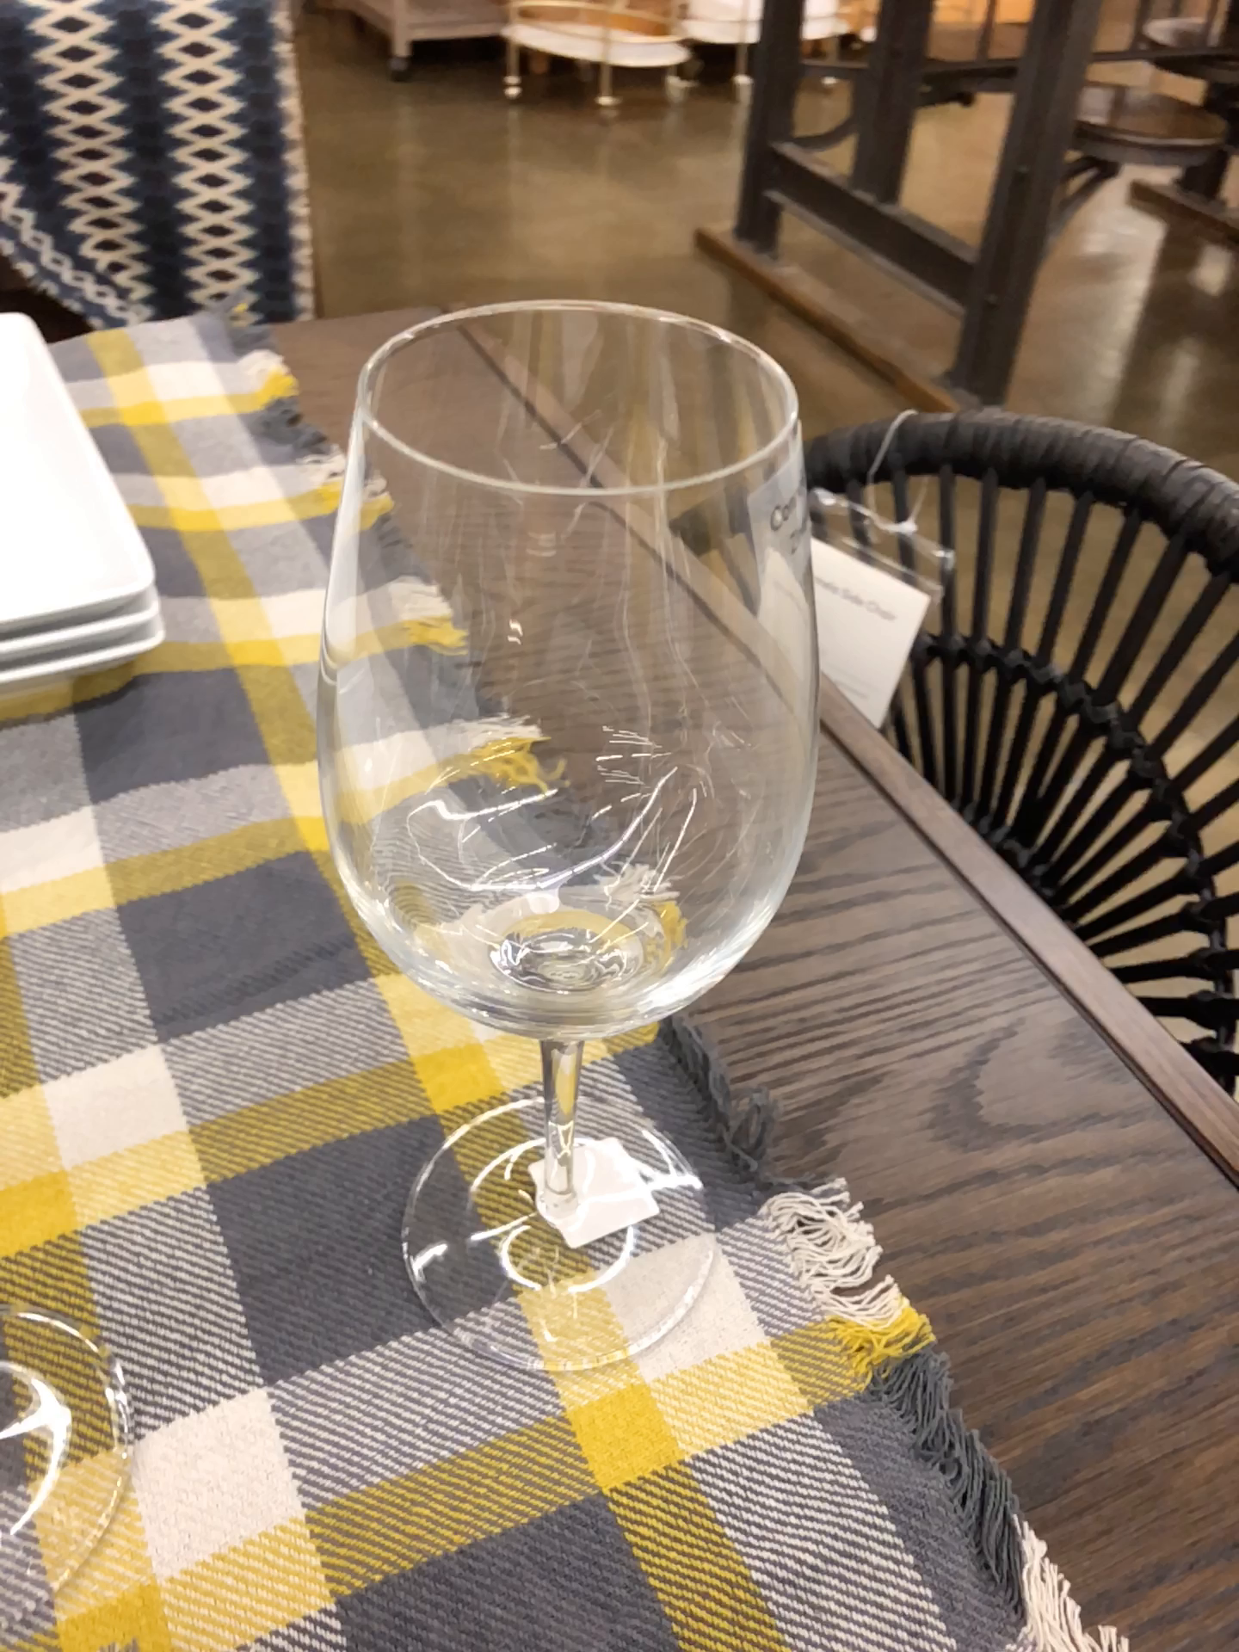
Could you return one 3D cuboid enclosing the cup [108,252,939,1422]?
[{"bbox_3d":[-0.010,0.011,0.261,0.096,0.192,0.093,2,40,-2],"label":"cup"}]

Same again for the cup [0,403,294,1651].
[{"bbox_3d":[-0.125,0.052,0.212,0.096,0.193,0.093,2,40,-2],"label":"cup"}]
